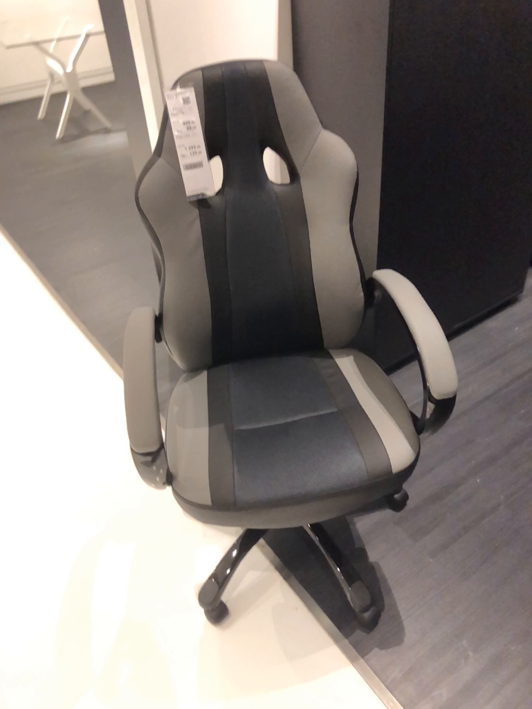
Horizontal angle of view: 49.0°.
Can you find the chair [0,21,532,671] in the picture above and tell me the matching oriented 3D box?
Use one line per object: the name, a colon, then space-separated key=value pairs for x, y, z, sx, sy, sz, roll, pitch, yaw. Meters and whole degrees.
chair: x=0.024 y=-0.015 z=1.341 sx=0.710 sy=1.161 sz=0.786 roll=-9 pitch=37 yaw=-4
